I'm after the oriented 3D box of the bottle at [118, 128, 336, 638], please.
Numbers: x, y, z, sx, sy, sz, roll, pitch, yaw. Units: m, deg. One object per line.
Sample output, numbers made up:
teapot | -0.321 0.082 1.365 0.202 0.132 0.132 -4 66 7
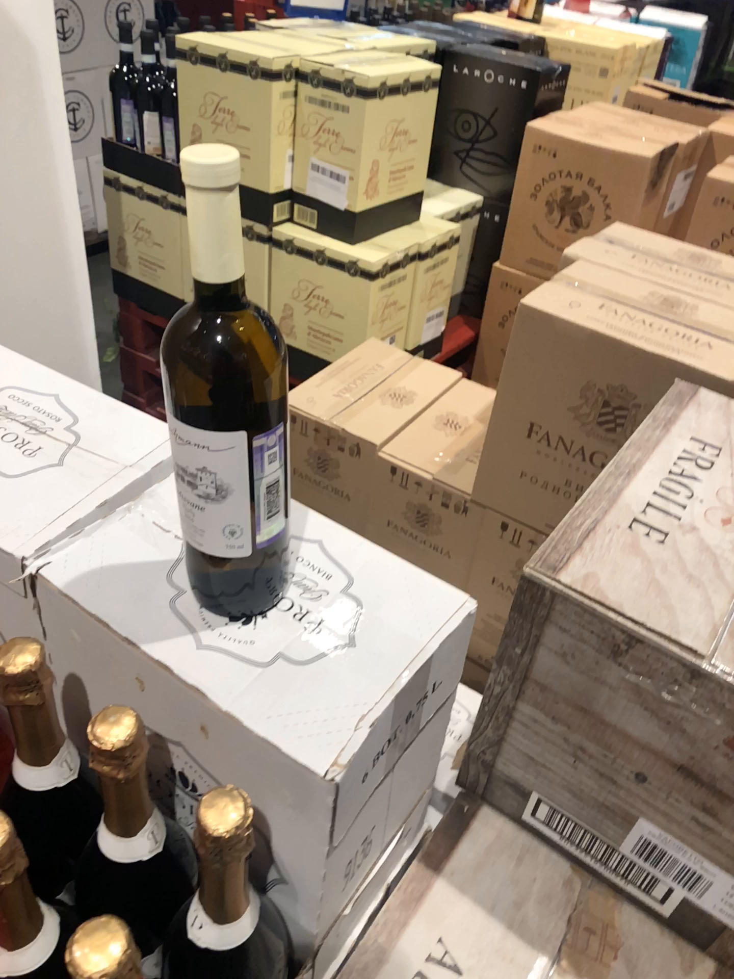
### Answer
bottle | -0.083 -0.049 0.483 0.073 0.288 0.080 -26 48 -35
